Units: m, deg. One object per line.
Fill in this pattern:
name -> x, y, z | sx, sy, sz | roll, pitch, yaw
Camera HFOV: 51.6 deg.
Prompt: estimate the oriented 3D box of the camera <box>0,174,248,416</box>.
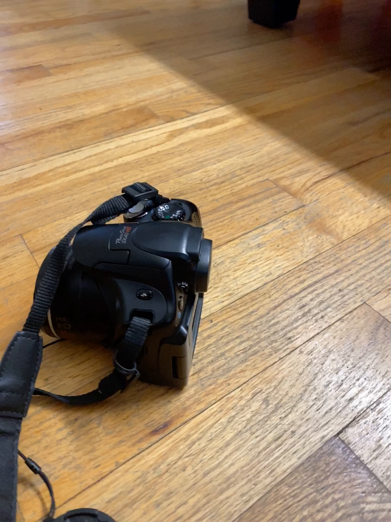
camera -> -0.034, 0.018, 0.279 | 0.120, 0.090, 0.121 | 8, 45, 6
